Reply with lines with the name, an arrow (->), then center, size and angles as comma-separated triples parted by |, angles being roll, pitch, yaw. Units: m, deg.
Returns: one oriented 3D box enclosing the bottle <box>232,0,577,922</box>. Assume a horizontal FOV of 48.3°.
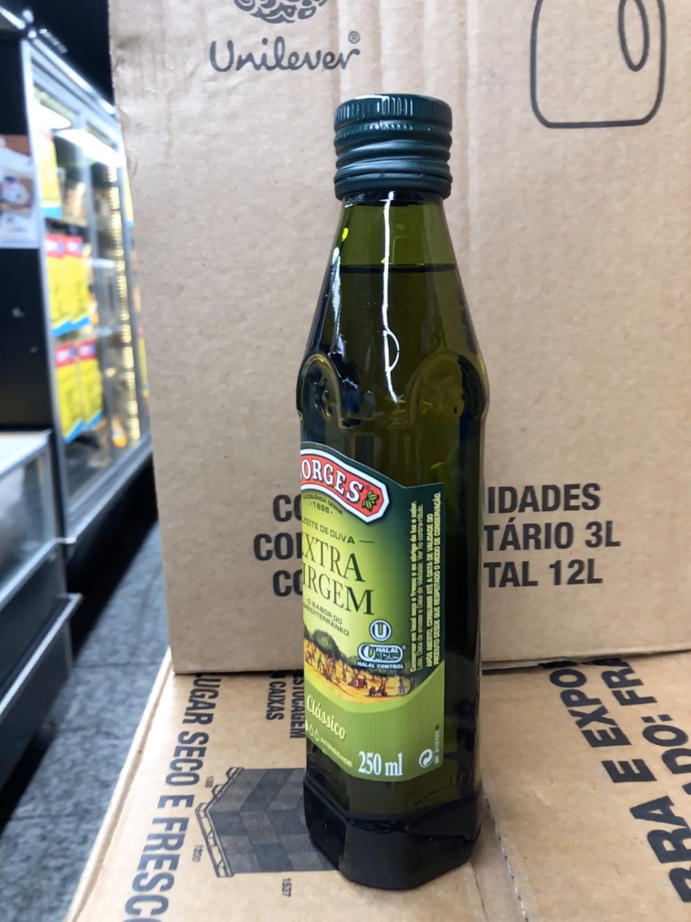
bottle -> 0.015, 0.002, 0.213 | 0.060, 0.219, 0.060 | -1, 12, 0
